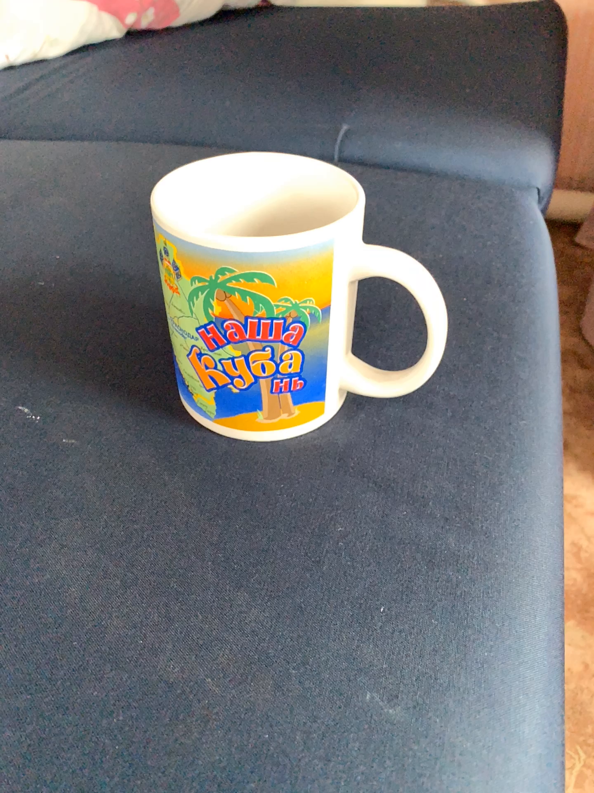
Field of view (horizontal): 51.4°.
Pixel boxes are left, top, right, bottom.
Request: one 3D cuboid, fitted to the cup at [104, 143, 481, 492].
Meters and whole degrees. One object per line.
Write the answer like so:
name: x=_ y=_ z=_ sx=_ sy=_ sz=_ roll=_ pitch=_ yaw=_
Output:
cup: x=0.004 y=-0.039 z=0.268 sx=0.120 sy=0.099 sz=0.091 roll=12 pitch=42 yaw=17
